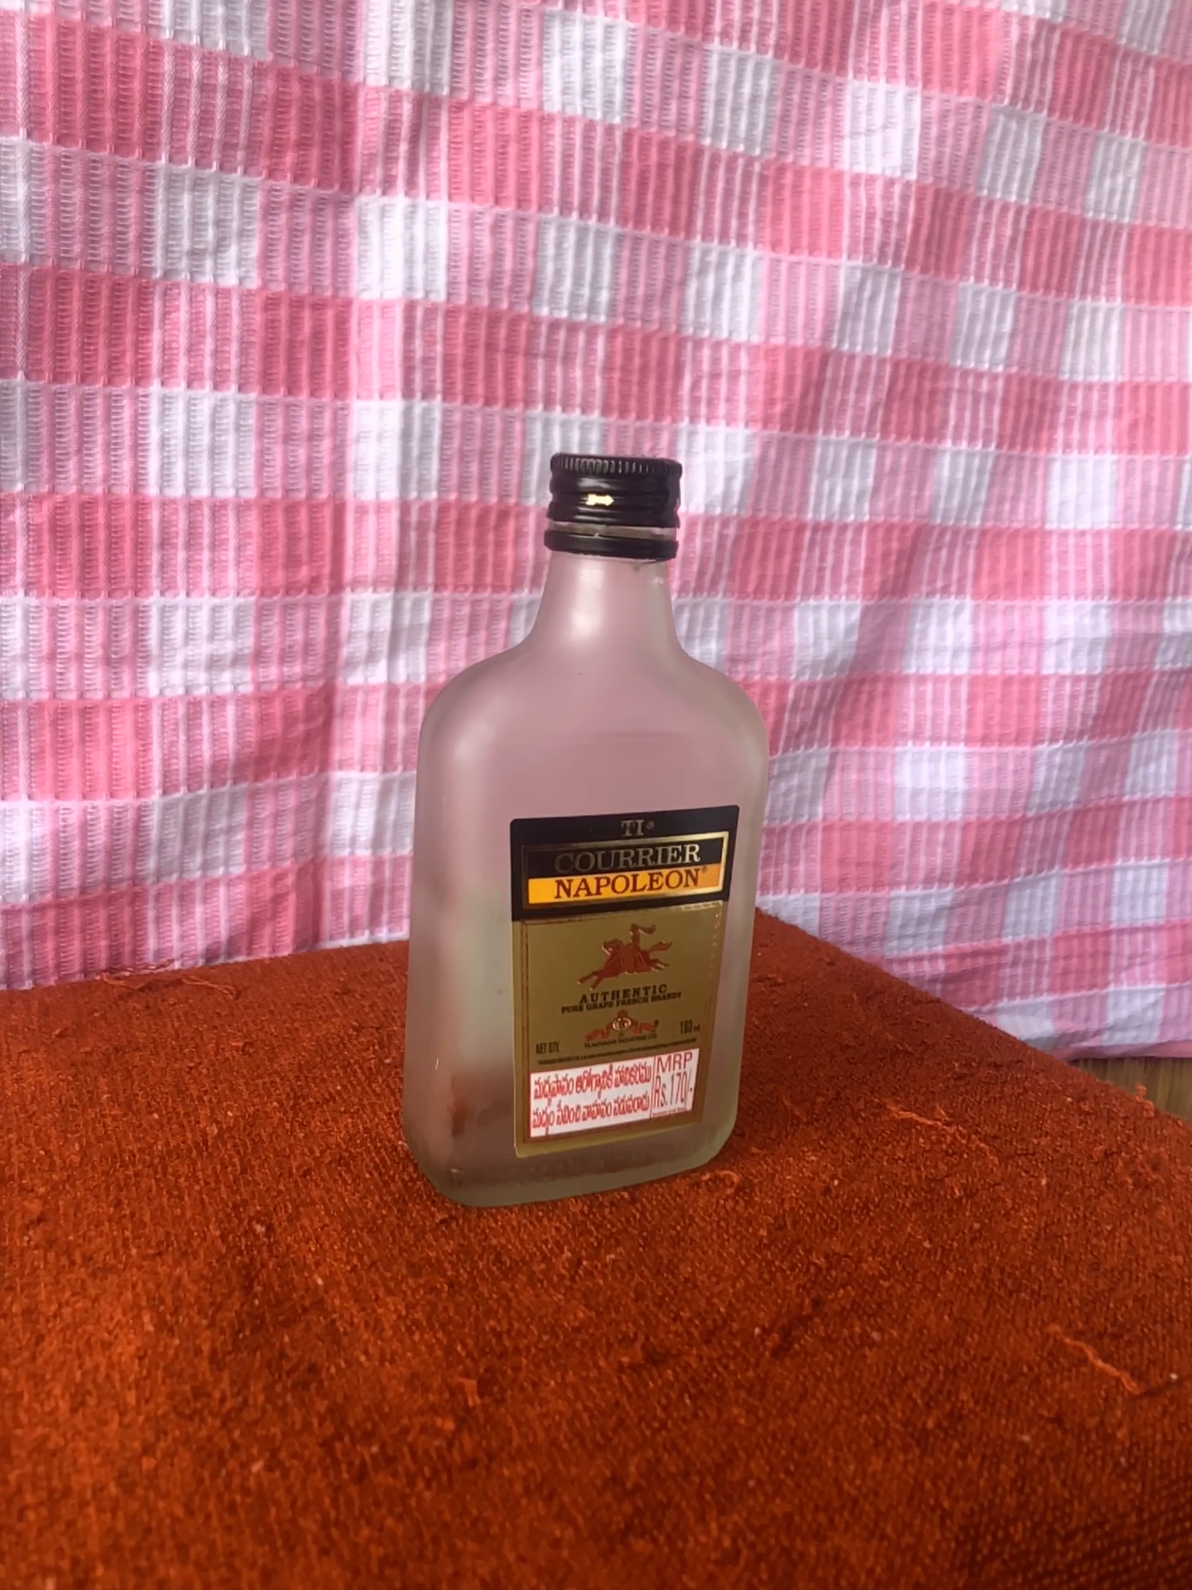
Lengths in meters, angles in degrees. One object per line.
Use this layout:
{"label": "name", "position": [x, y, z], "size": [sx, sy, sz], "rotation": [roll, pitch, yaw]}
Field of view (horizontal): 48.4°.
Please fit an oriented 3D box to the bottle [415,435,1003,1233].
{"label": "bottle", "position": [0.017, 0.004, 0.250], "size": [0.080, 0.130, 0.050], "rotation": [-1, 16, -28]}
